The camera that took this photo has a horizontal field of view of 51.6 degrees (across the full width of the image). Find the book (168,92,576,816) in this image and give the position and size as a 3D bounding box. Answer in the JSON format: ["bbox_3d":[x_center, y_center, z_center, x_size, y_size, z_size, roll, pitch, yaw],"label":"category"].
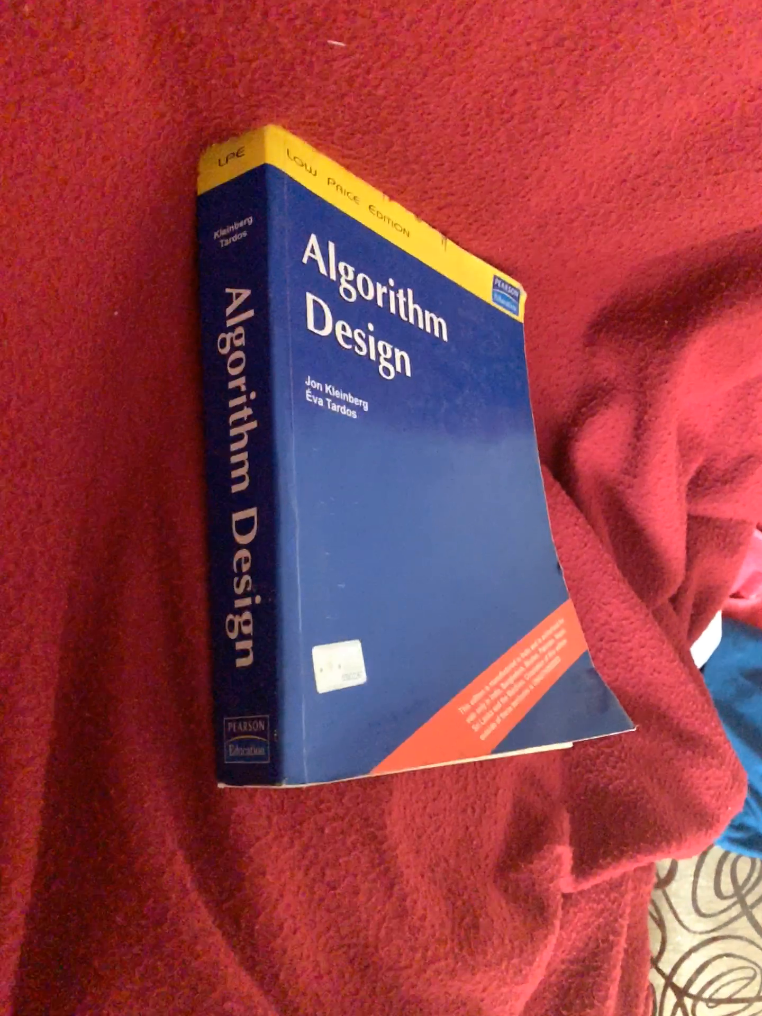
[{"bbox_3d":[0.003,-0.013,0.353,0.191,0.060,0.250,12,69,-51],"label":"book"}]
